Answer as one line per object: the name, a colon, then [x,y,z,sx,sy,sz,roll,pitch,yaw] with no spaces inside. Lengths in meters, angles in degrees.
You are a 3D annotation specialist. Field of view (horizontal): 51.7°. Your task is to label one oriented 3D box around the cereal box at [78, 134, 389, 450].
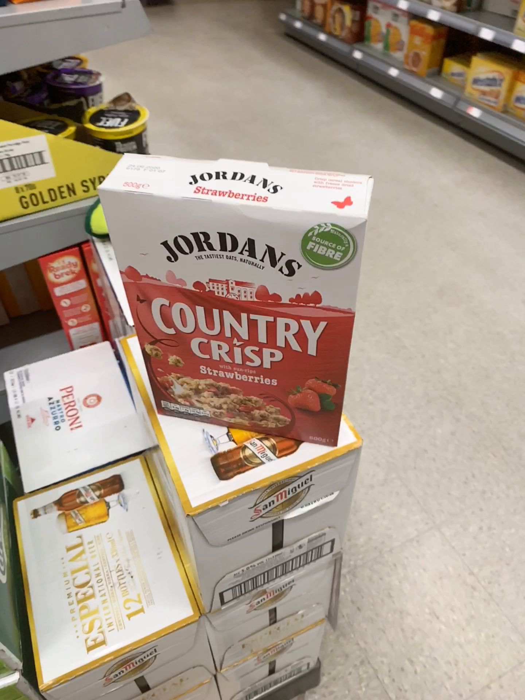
cereal box: [-0.016,-0.031,0.436,0.190,0.248,0.061,9,47,9]
